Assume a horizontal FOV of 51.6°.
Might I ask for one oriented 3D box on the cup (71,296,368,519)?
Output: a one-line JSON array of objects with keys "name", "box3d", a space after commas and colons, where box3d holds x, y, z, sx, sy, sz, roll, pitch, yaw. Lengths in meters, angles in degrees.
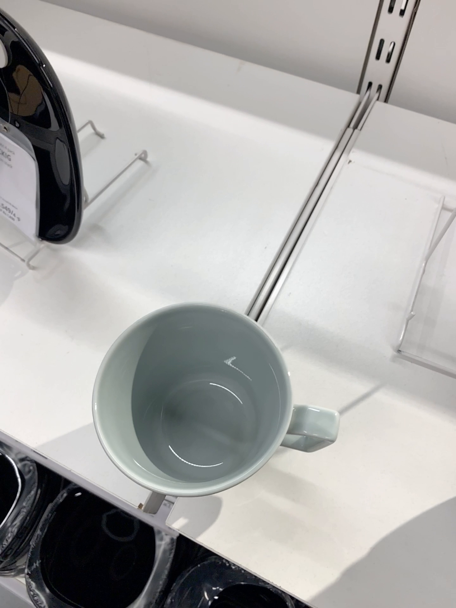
[{"name": "cup", "box3d": [-0.005, 0.059, 0.261, 0.130, 0.070, 0.100, -3, 62, 0]}]
